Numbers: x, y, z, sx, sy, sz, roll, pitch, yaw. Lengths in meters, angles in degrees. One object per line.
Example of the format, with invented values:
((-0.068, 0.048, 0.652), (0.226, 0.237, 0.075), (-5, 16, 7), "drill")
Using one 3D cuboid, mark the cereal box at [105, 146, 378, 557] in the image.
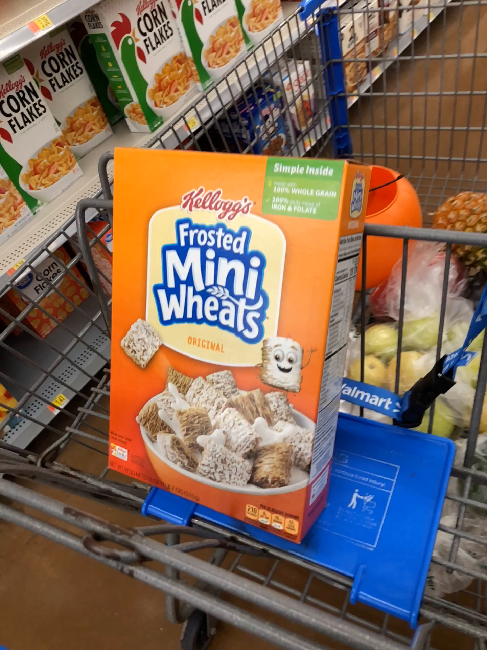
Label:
((-0.013, 0.012, 0.442), (0.190, 0.290, 0.070), (12, 16, 25), "cereal box")
